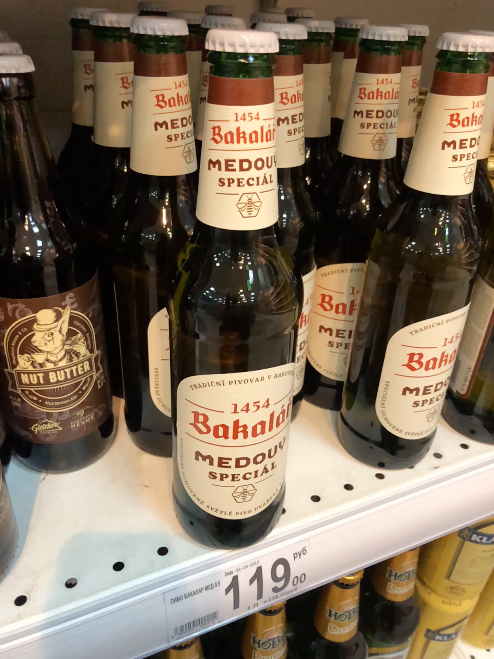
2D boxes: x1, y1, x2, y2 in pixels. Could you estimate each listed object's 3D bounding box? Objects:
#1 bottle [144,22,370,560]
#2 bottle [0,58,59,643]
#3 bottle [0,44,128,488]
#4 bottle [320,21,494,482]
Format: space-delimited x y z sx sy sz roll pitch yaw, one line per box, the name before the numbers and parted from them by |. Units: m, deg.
bottle | -0.005 -0.004 0.266 0.070 0.249 0.066 2 30 -1
bottle | -0.142 0.020 0.230 0.061 0.233 0.069 14 32 18
bottle | -0.115 -0.026 0.306 0.069 0.231 0.061 -10 32 -21
bottle | 0.097 -0.031 0.313 0.065 0.249 0.061 2 30 -1
